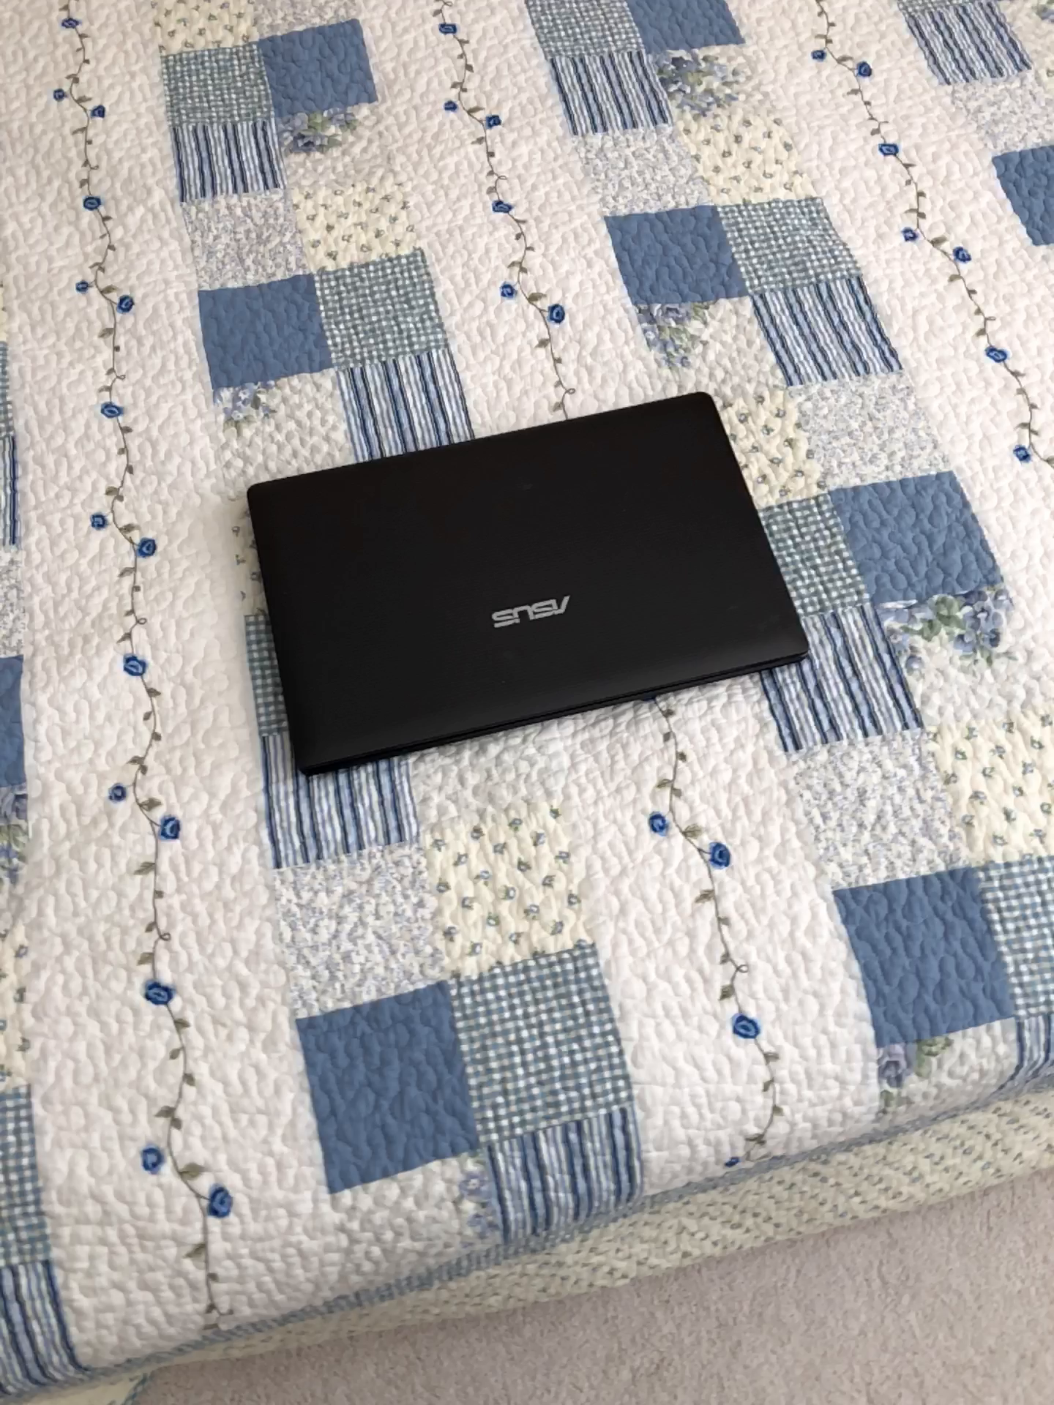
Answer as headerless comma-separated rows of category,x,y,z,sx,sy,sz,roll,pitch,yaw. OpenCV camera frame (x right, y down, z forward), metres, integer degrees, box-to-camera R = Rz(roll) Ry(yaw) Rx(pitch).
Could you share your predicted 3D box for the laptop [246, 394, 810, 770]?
laptop,-0.007,-0.099,0.859,0.369,0.006,0.235,-13,66,-5
